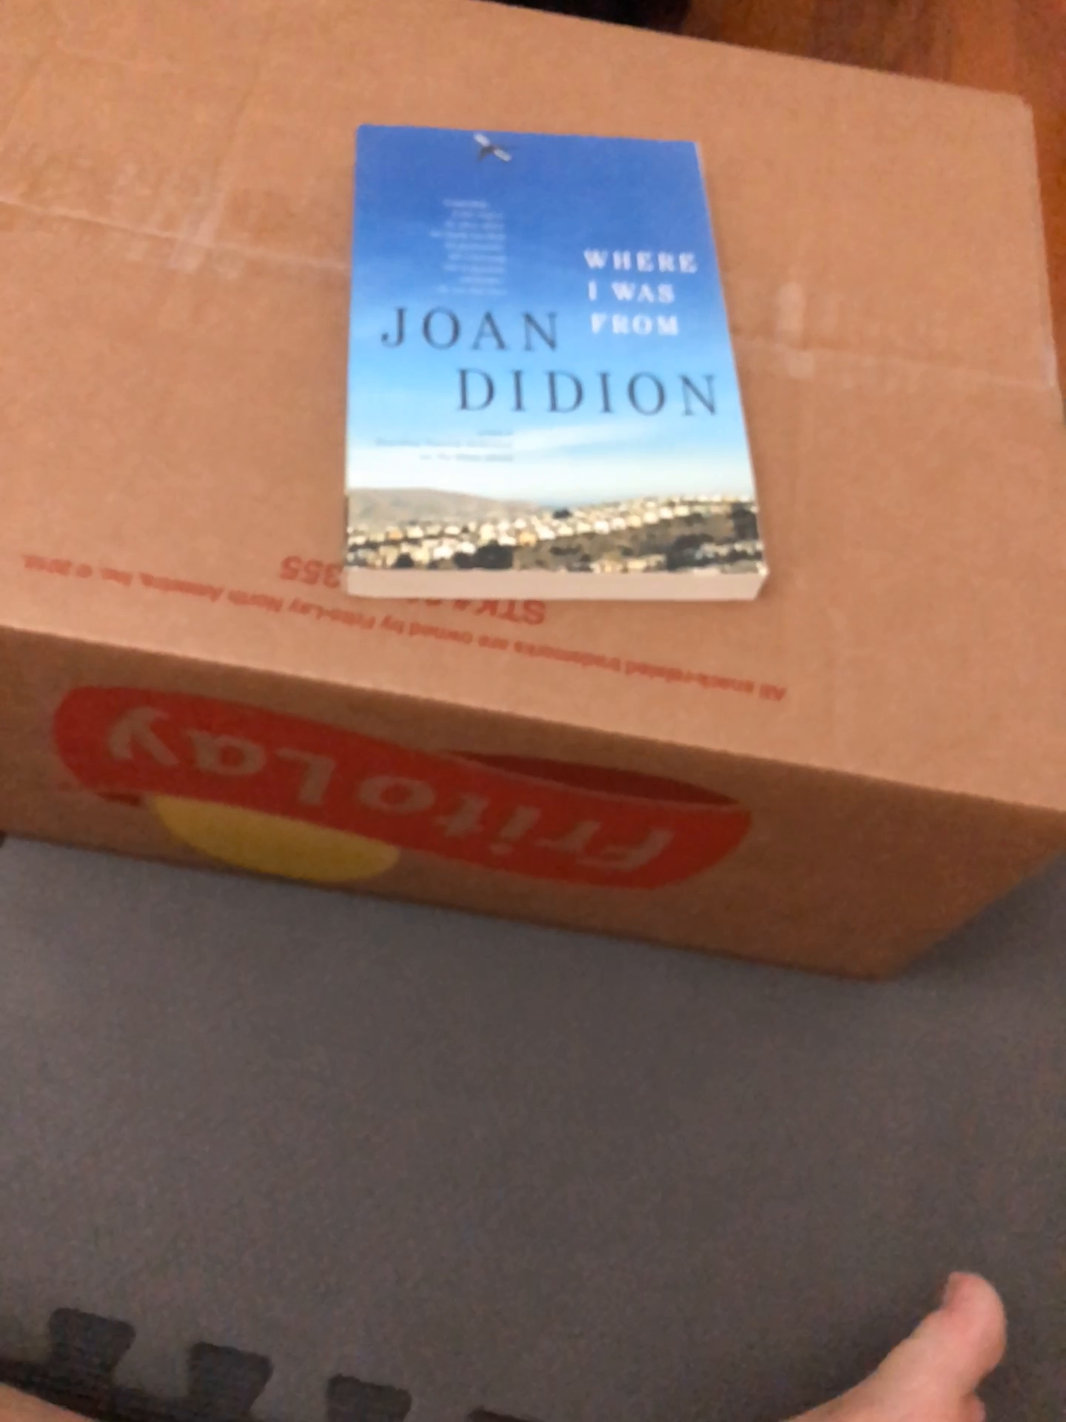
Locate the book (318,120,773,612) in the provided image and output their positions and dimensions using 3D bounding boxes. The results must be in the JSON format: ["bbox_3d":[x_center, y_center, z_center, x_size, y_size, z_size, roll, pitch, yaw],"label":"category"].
[{"bbox_3d":[-0.001,-0.129,0.424,0.140,0.020,0.211,0,62,-6],"label":"book"}]
